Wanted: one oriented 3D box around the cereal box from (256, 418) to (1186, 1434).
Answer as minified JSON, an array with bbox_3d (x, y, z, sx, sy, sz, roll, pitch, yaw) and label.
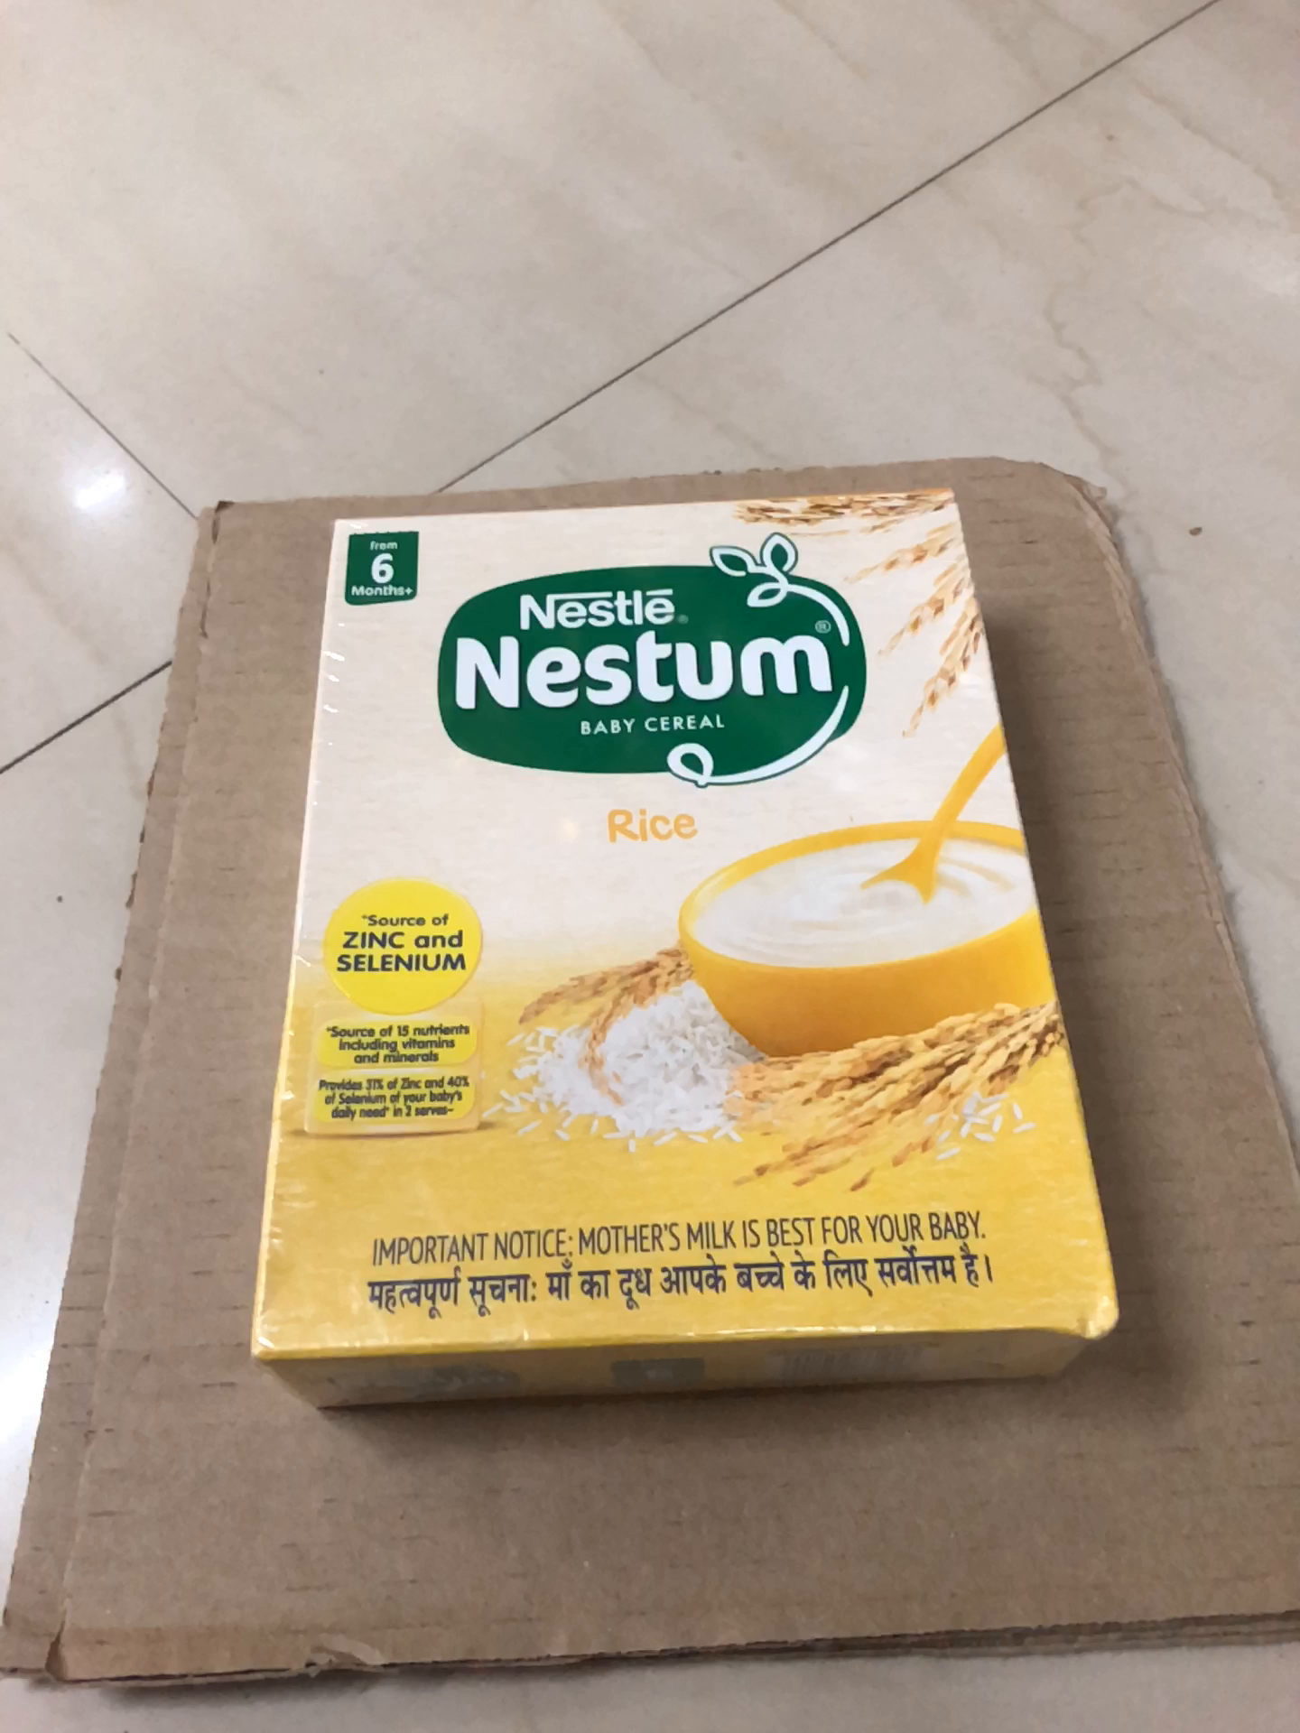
[{"bbox_3d":[0.009,0.003,0.312,0.150,0.060,0.211,-2,60,0],"label":"cereal box"}]
